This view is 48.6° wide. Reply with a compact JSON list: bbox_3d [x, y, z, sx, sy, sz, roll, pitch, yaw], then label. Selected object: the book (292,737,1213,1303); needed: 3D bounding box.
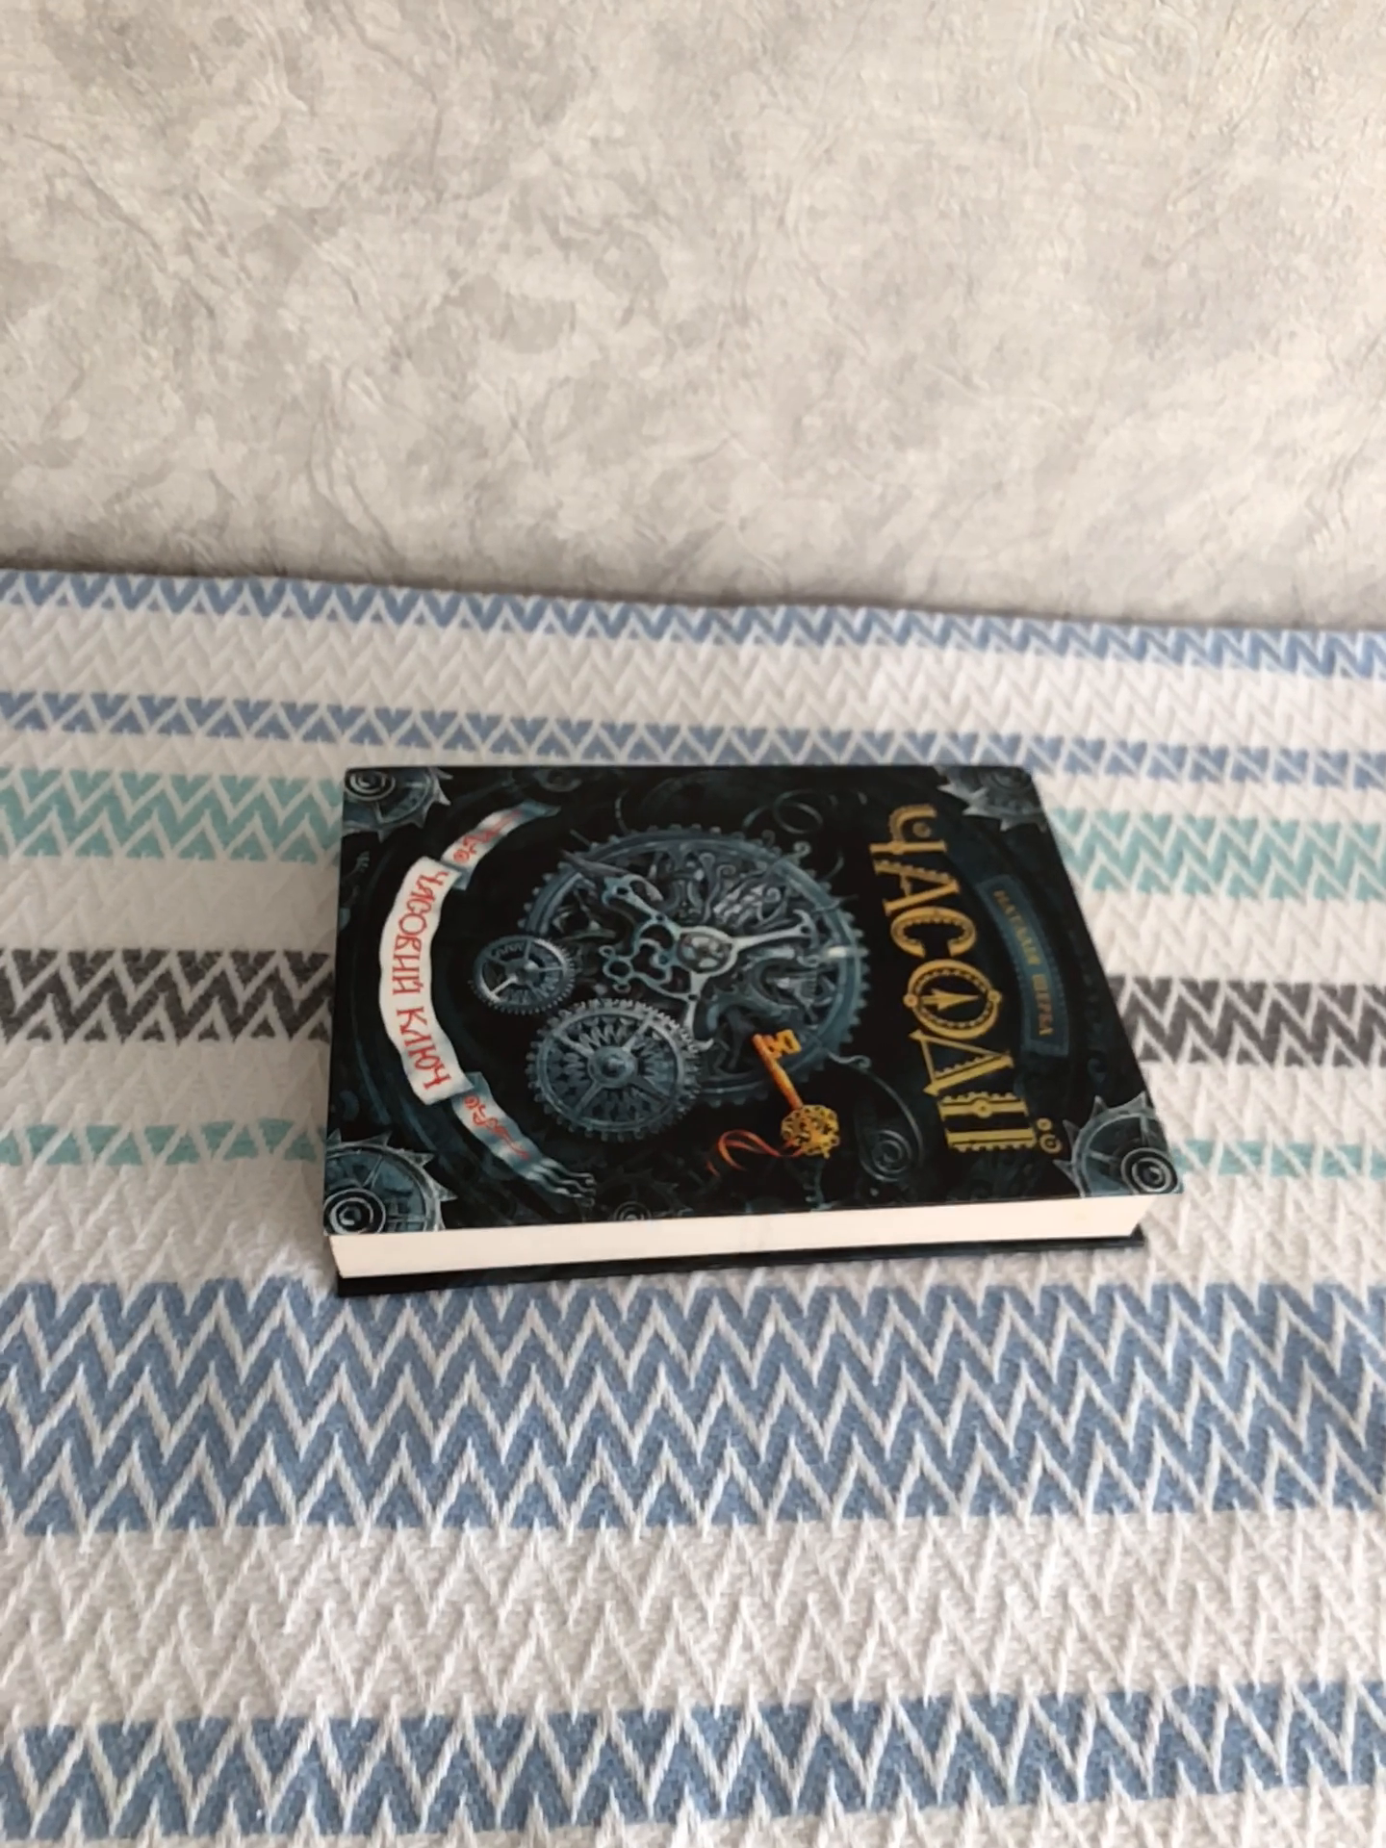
[{"bbox_3d":[0.009,0.017,0.458,0.238,0.032,0.179,-1,49,-10],"label":"book"}]
